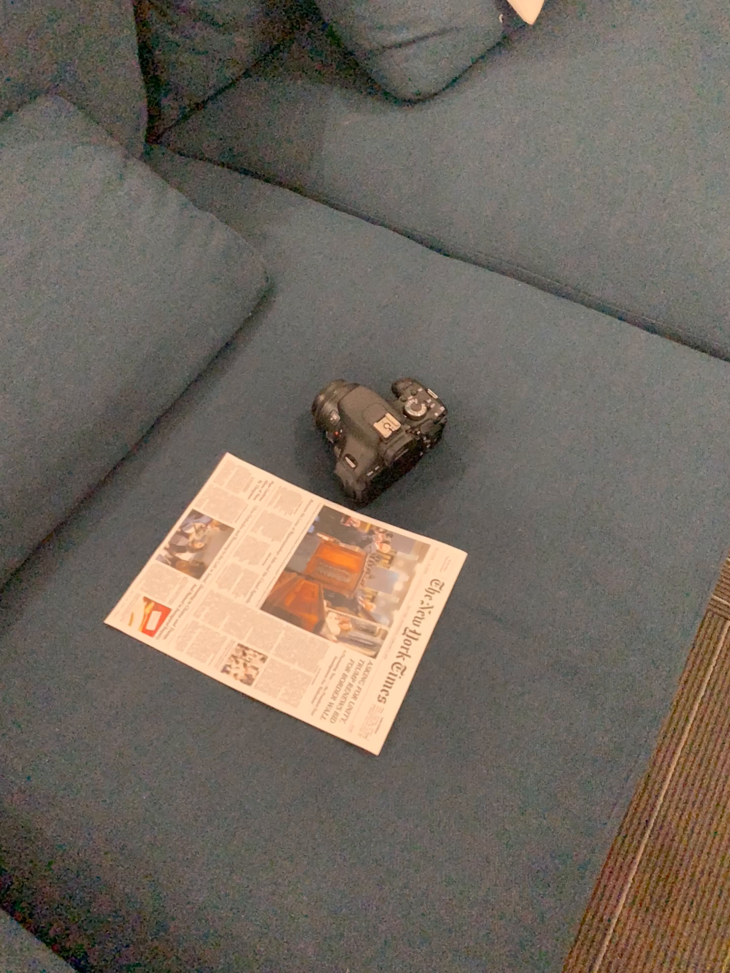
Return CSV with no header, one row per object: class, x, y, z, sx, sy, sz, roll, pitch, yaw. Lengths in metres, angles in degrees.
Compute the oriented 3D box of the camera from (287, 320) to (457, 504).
camera,0.010,-0.082,0.818,0.140,0.100,0.110,-41,67,-17
